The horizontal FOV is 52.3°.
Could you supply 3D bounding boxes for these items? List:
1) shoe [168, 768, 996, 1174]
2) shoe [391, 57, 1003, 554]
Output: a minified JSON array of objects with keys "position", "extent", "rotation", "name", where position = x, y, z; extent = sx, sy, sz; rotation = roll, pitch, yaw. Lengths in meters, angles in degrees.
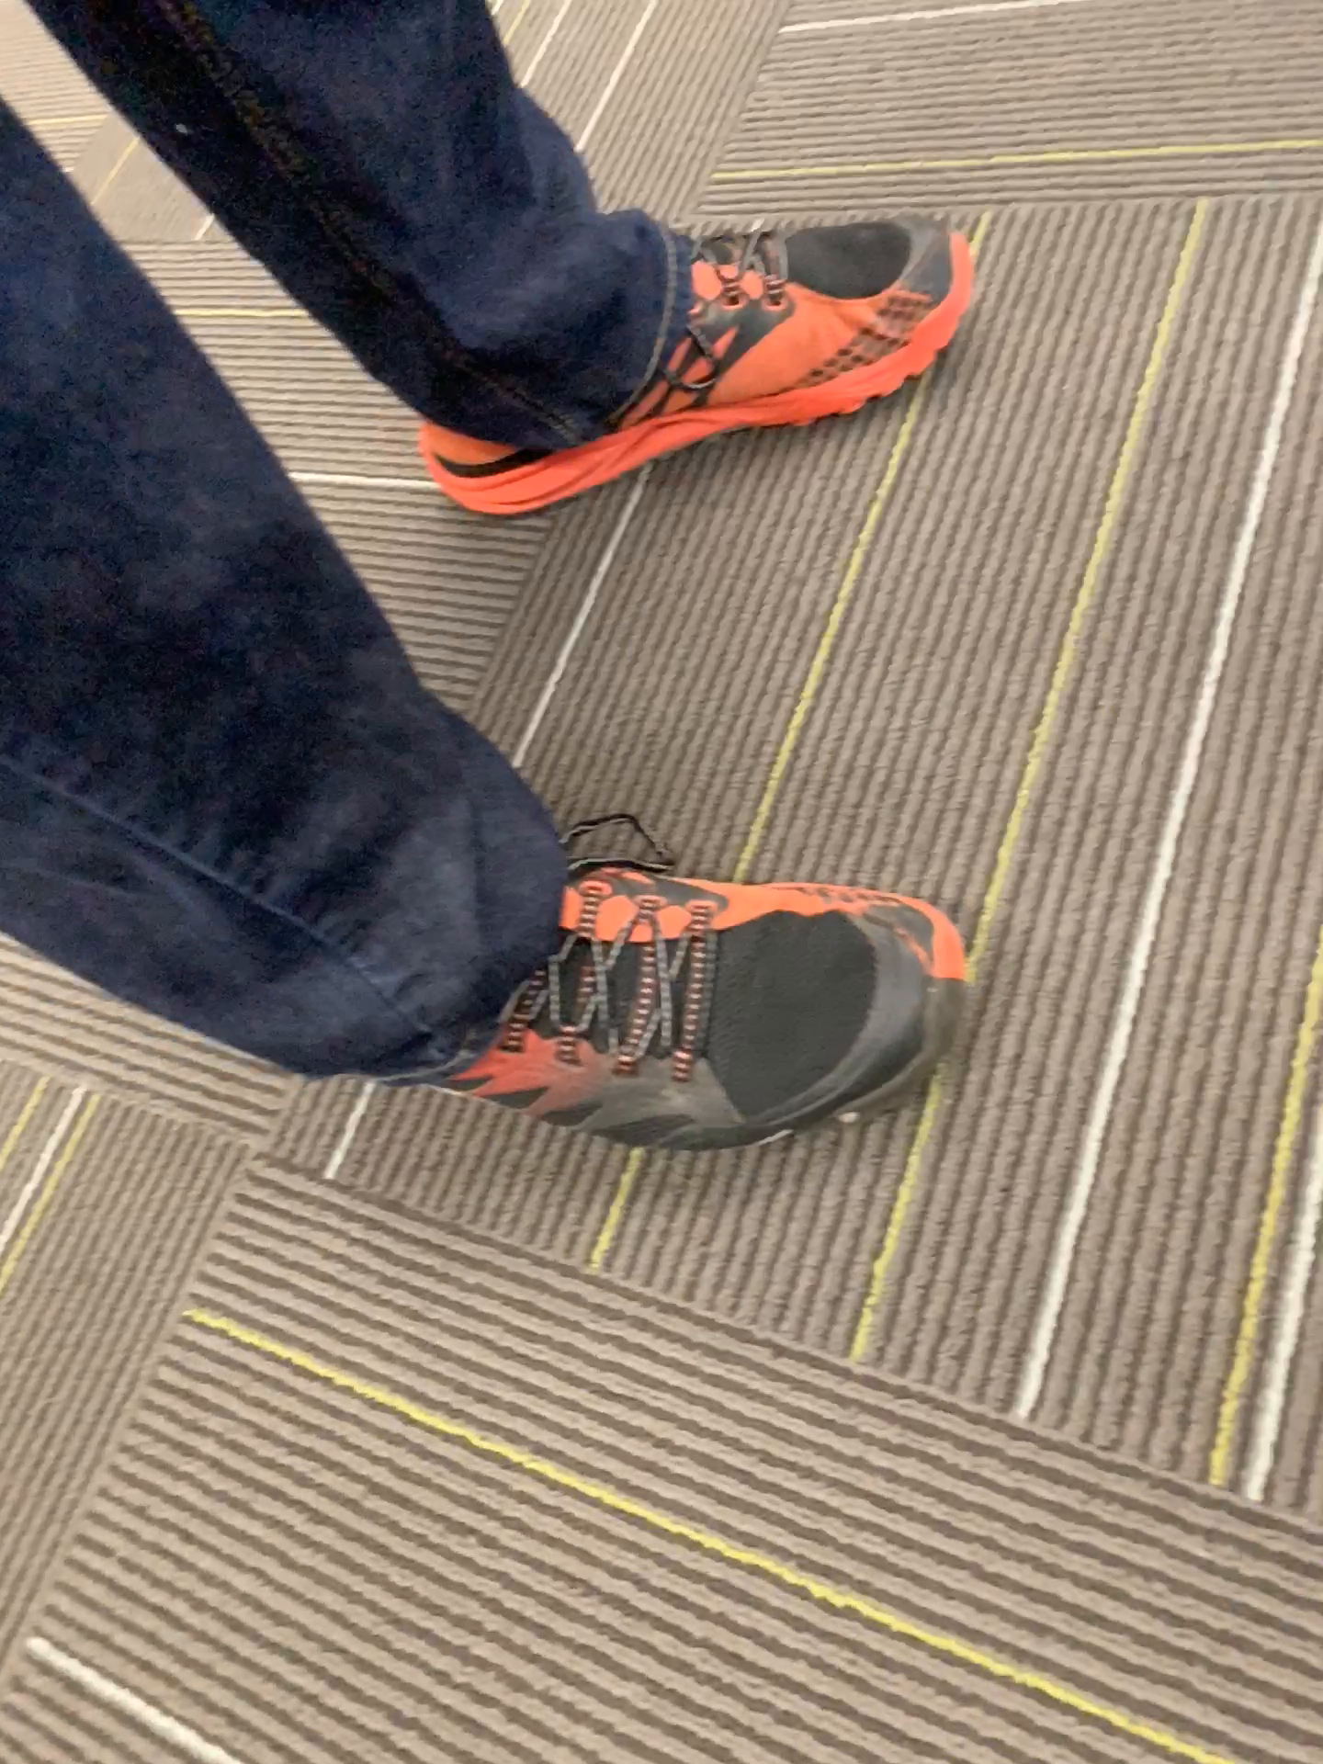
[{"position":[-0.029,0.042,0.581],"extent":[0.321,0.119,0.120],"rotation":[-1,63,21],"name":"shoe"},{"position":[0.013,-0.302,0.725],"extent":[0.300,0.100,0.130],"rotation":[-14,59,14],"name":"shoe"}]
